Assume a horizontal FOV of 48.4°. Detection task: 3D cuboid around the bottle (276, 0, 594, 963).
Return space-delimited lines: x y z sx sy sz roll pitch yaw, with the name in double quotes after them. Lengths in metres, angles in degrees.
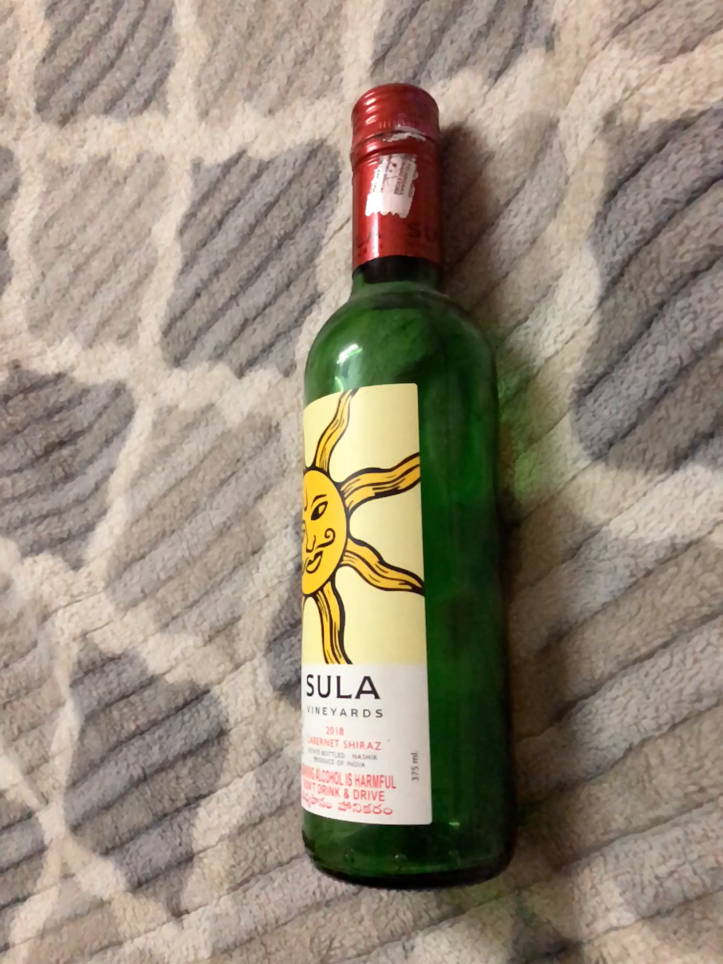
0.016 -0.006 0.222 0.060 0.050 0.230 -10 78 44 "bottle"
